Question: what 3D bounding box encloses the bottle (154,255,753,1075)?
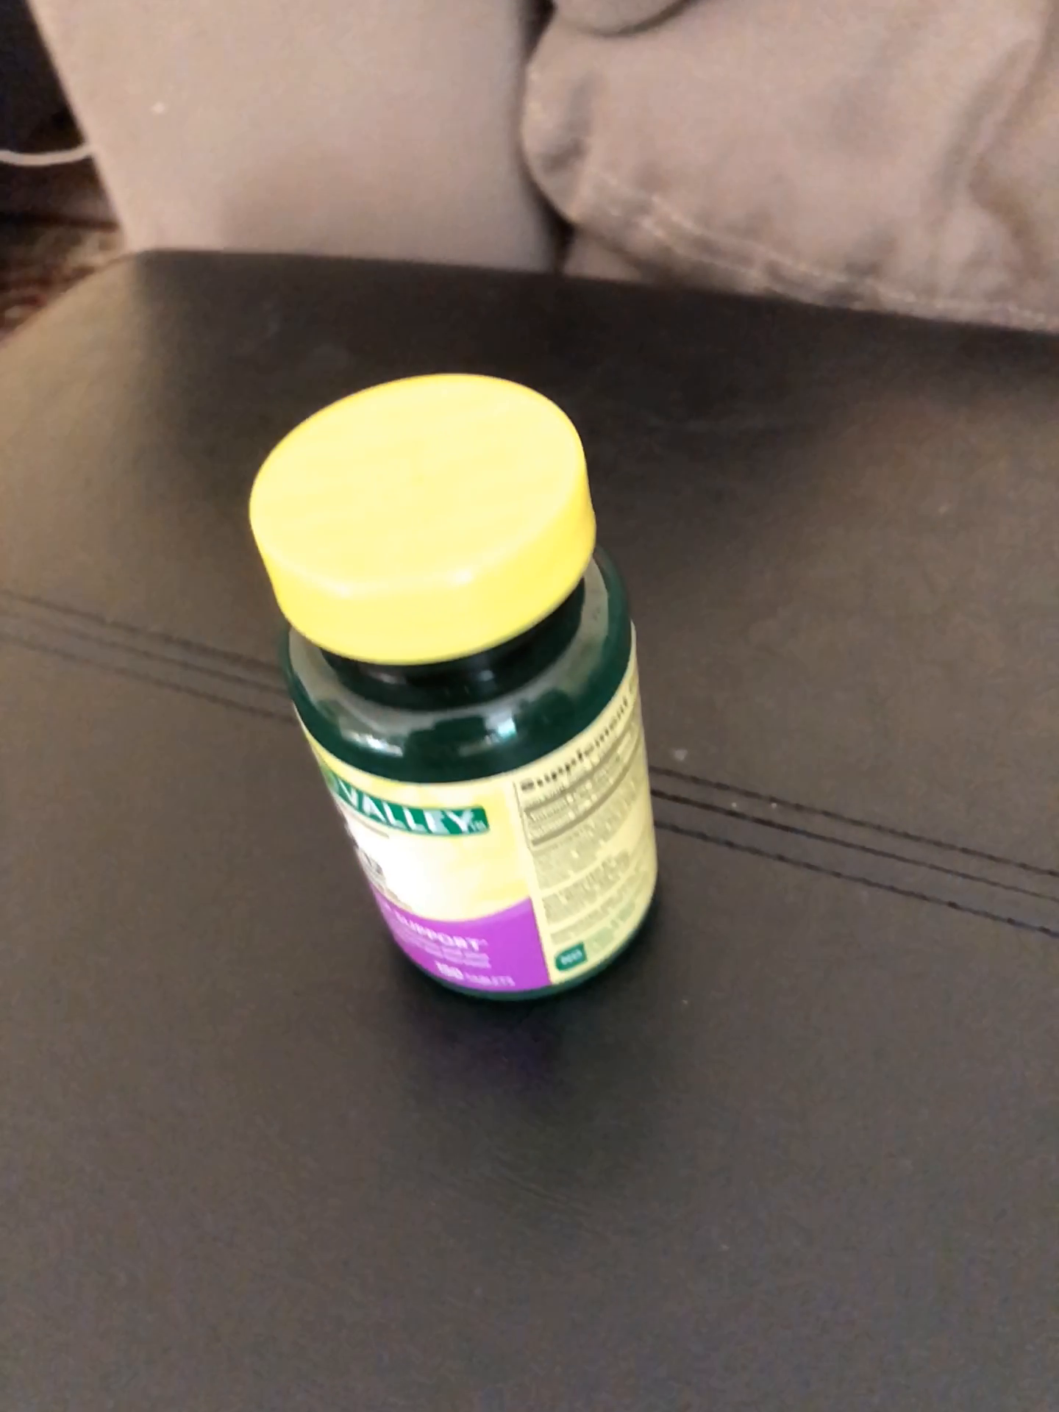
[{"bbox_3d":[-0.005,-0.002,0.165,0.050,0.090,0.050,-5,47,5],"label":"bottle"}]
